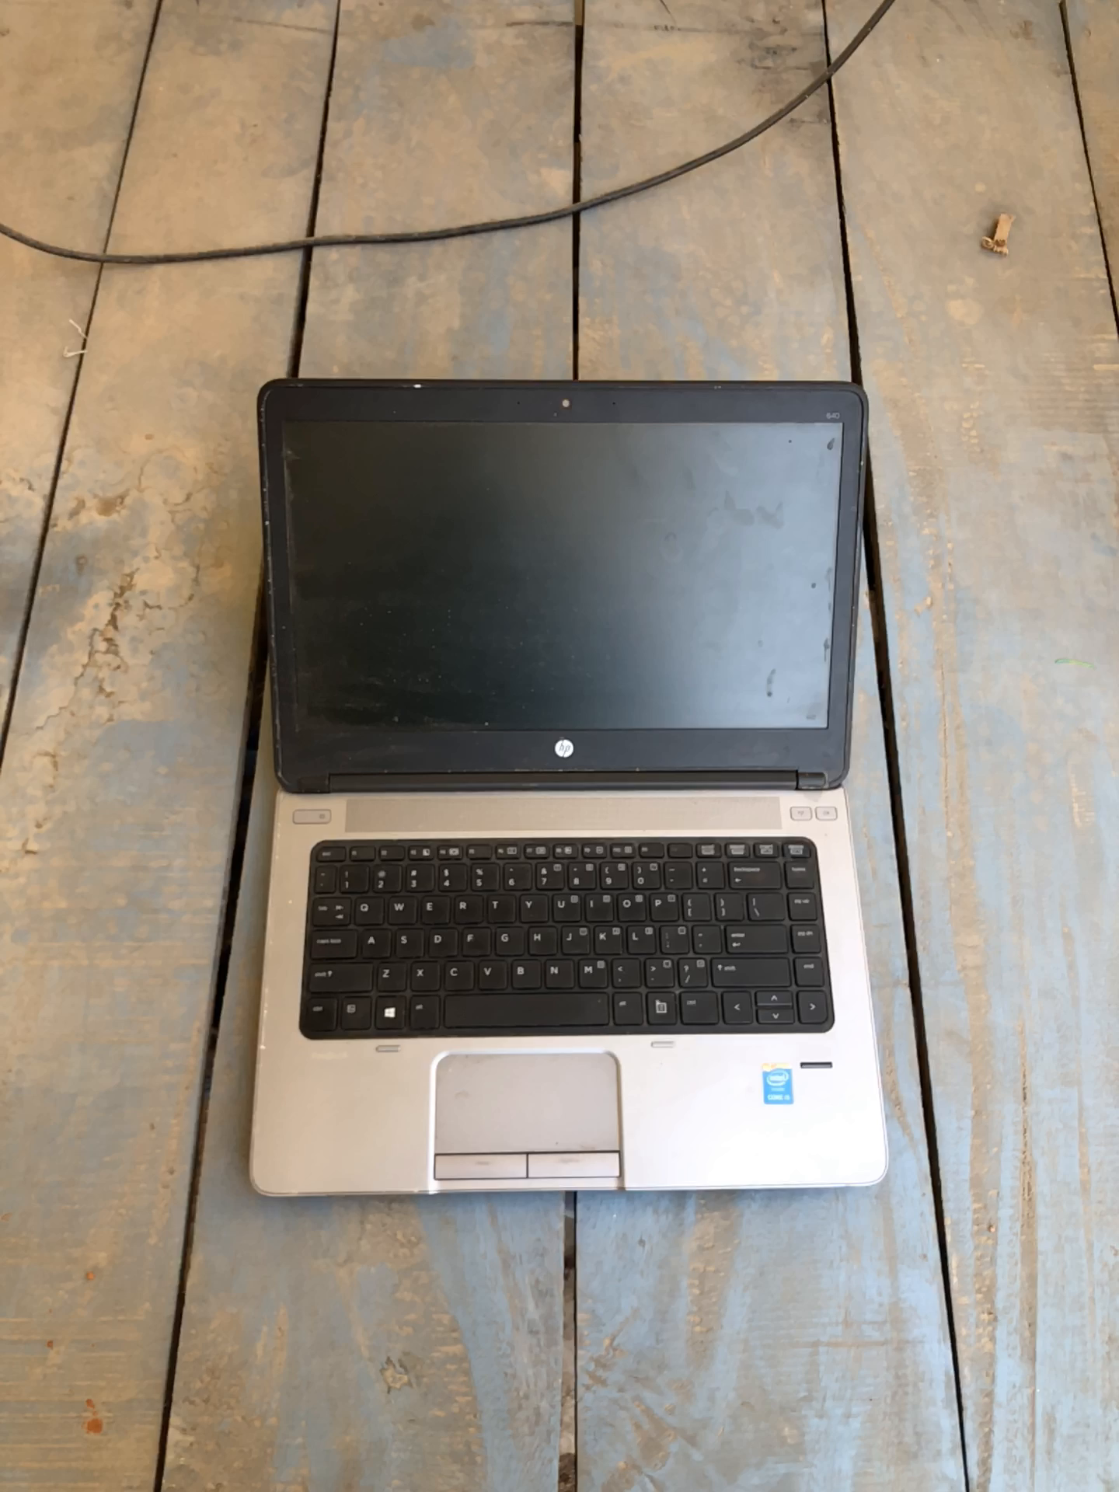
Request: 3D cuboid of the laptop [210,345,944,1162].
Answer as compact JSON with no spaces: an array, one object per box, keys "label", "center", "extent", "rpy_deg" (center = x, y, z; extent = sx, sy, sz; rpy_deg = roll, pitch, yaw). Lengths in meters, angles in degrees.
[{"label":"laptop","center":[0.007,0.001,0.636],"extent":[0.306,0.123,0.389],"rpy_deg":[1,70,0]}]
